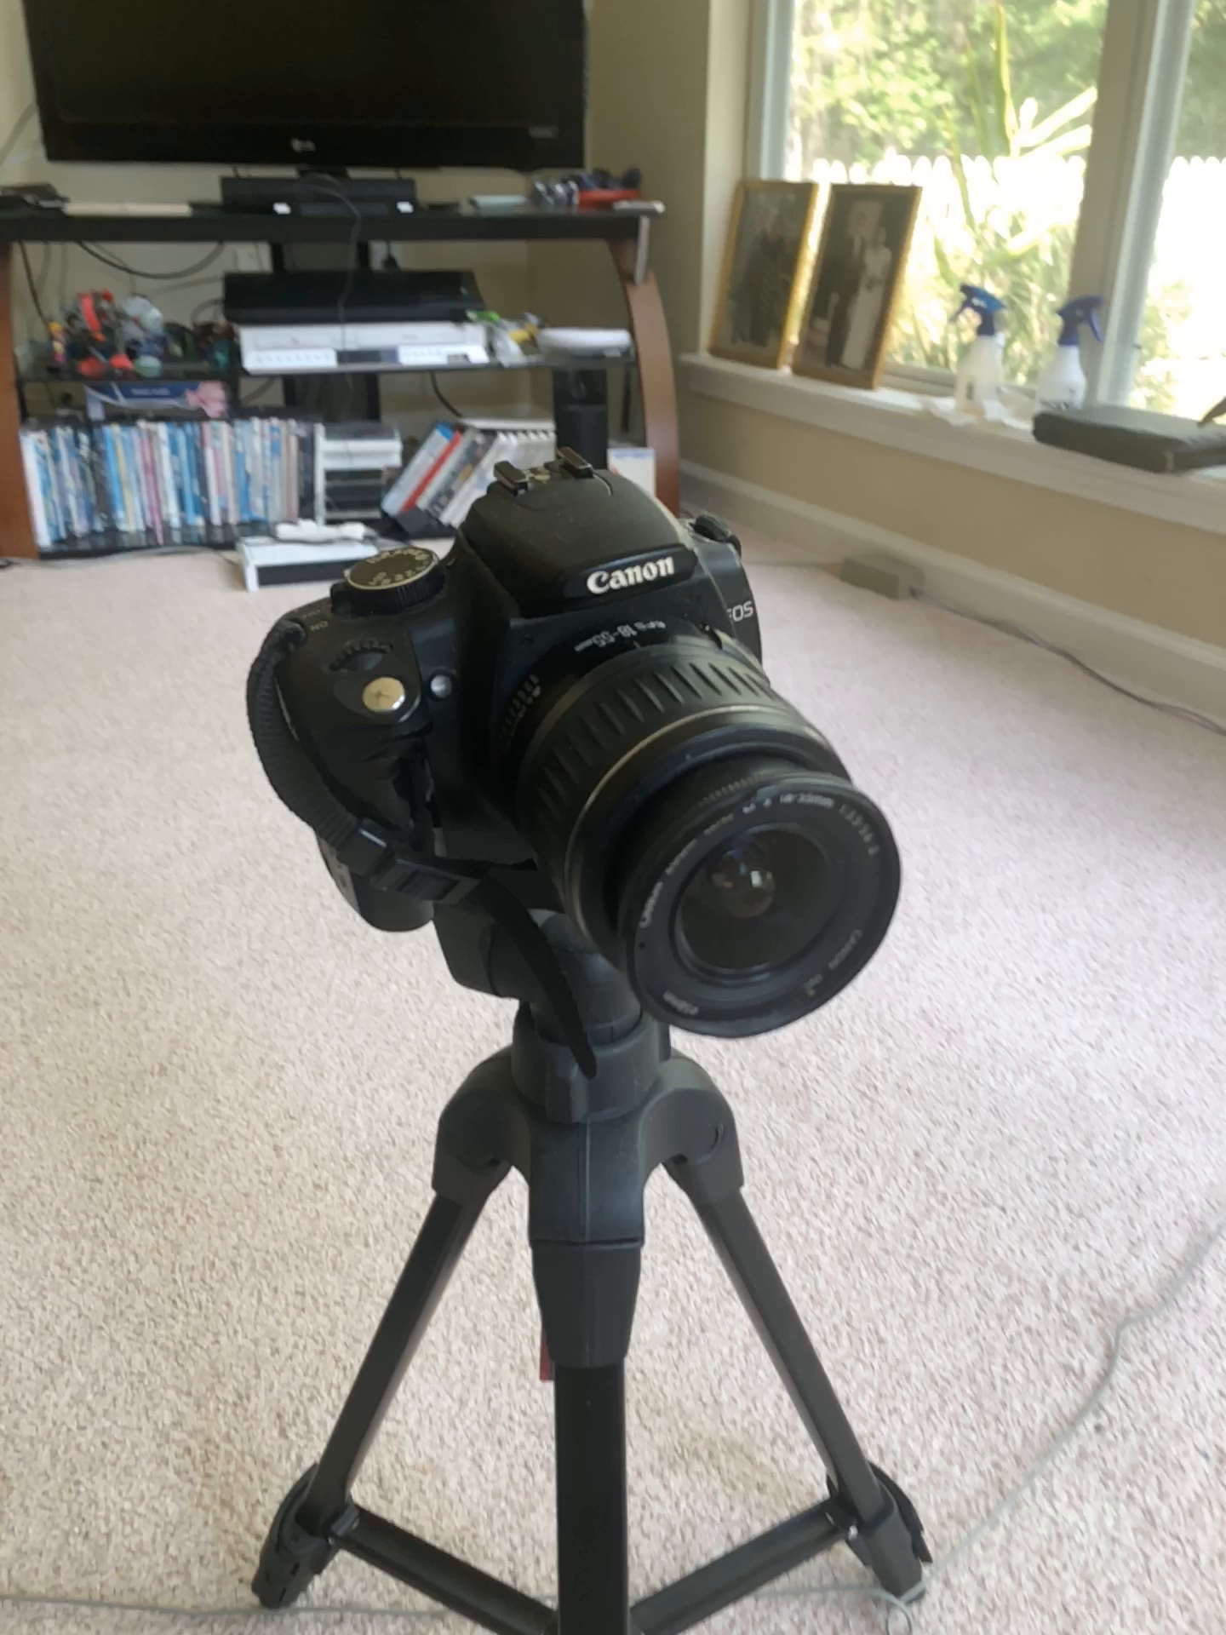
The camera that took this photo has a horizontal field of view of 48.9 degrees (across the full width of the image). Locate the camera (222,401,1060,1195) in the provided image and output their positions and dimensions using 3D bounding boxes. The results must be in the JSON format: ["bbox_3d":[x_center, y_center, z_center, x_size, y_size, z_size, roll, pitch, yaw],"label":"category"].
[{"bbox_3d":[-0.001,-0.019,0.312,0.130,0.093,0.143,-18,36,-17],"label":"camera"}]
